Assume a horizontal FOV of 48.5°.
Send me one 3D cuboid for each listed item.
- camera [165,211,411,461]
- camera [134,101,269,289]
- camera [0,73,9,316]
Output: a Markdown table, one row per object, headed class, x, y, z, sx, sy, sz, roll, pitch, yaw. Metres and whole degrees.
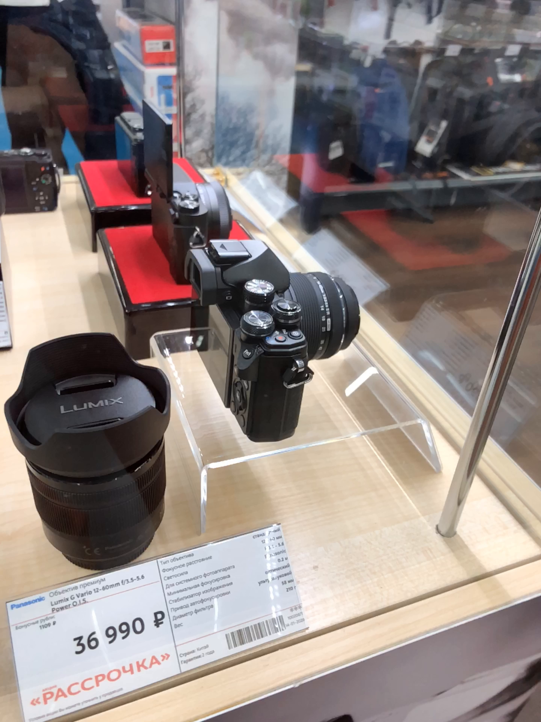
| class | x | y | z | sx | sy | sz | roll | pitch | yaw |
| --- | --- | --- | --- | --- | --- | --- | --- | --- | --- |
| camera | 0.001 | -0.023 | 0.360 | 0.101 | 0.088 | 0.118 | -9 | 37 | -20 |
| camera | -0.059 | -0.138 | 0.484 | 0.072 | 0.109 | 0.118 | -9 | 37 | -20 |
| camera | -0.261 | -0.131 | 0.436 | 0.104 | 0.109 | 0.186 | -6 | 36 | -15 |
